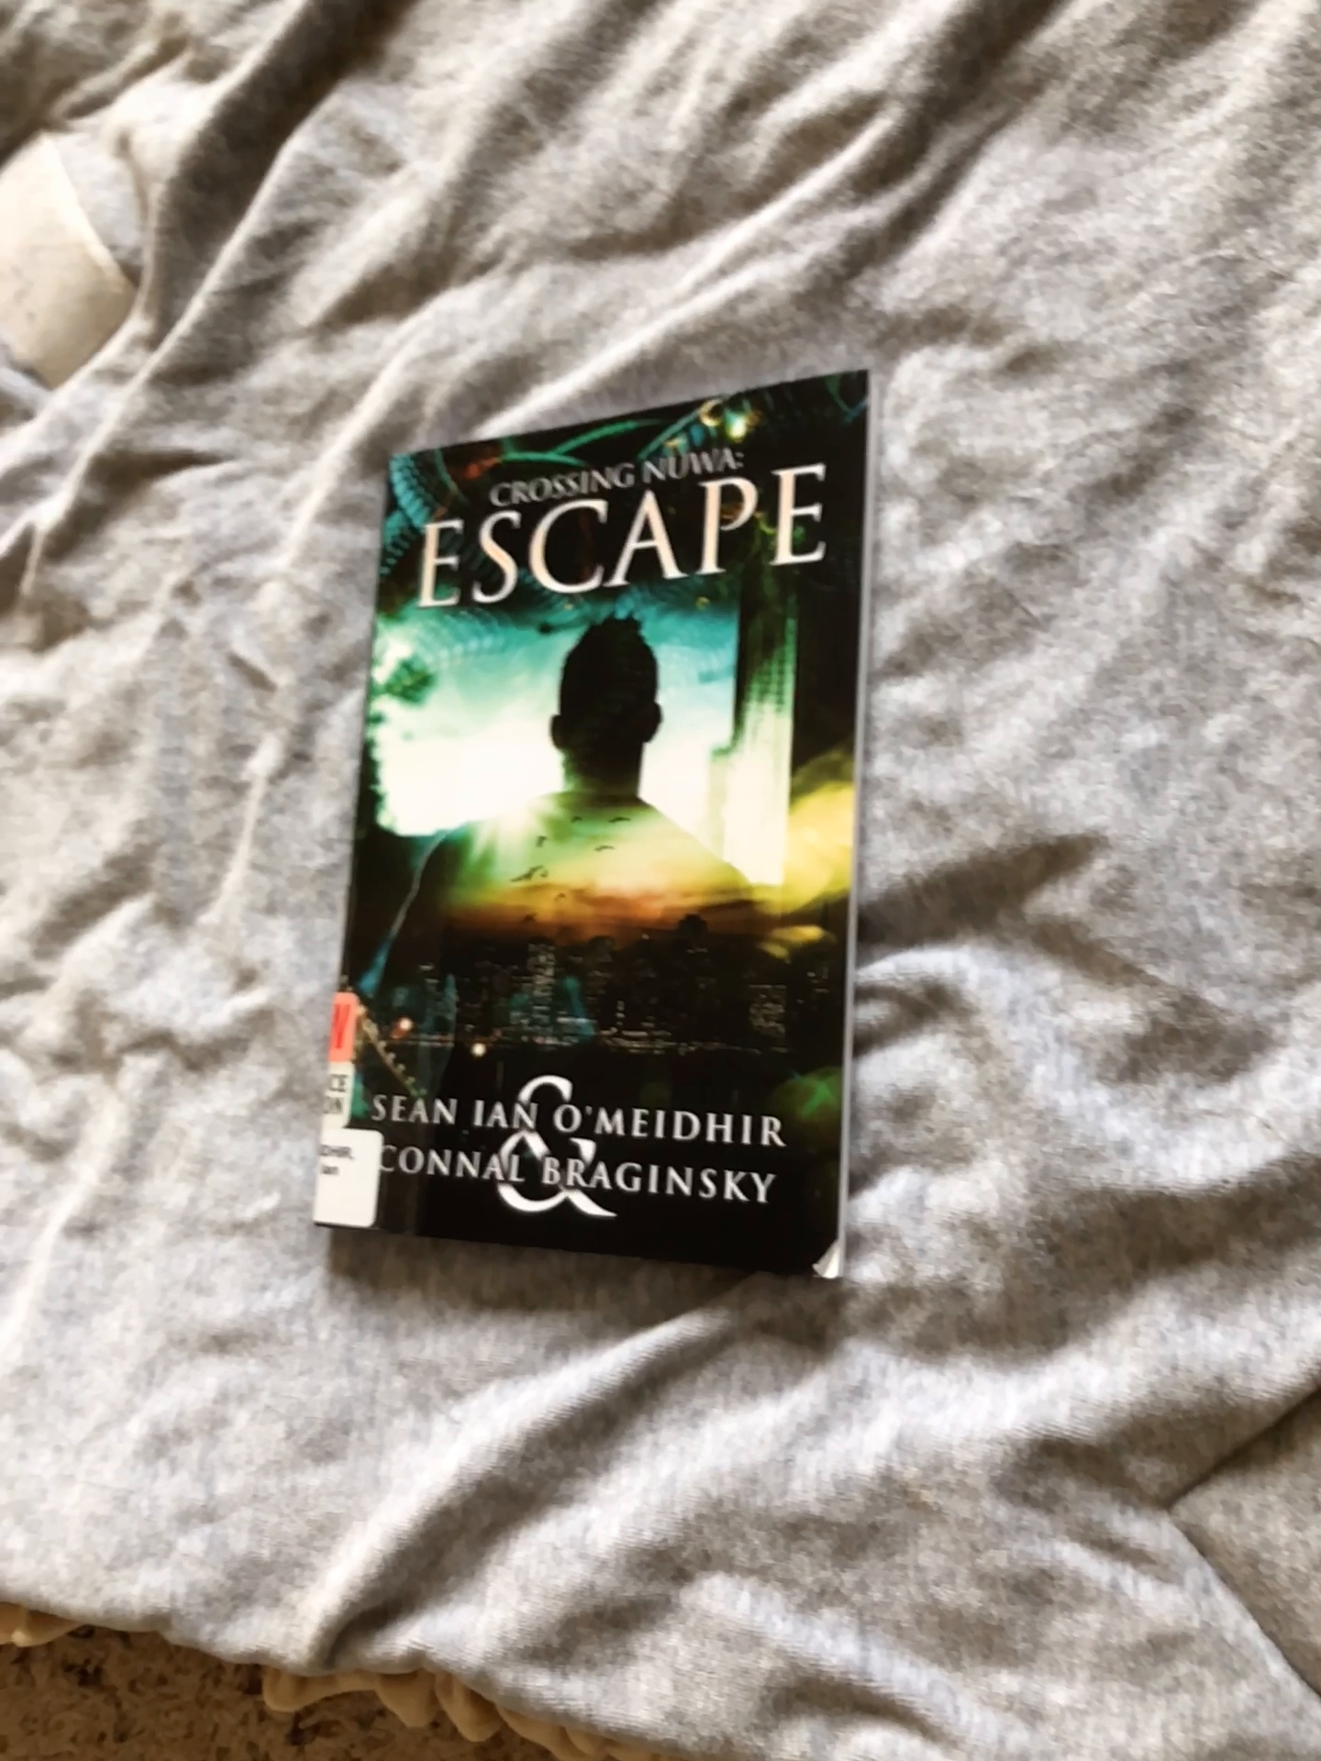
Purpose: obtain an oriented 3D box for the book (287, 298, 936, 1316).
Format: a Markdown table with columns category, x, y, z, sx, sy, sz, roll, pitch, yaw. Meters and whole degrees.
| category | x | y | z | sx | sy | sz | roll | pitch | yaw |
| --- | --- | --- | --- | --- | --- | --- | --- | --- | --- |
| book | -0.014 | -0.022 | 0.401 | 0.160 | 0.030 | 0.250 | 0 | 80 | 26 |
